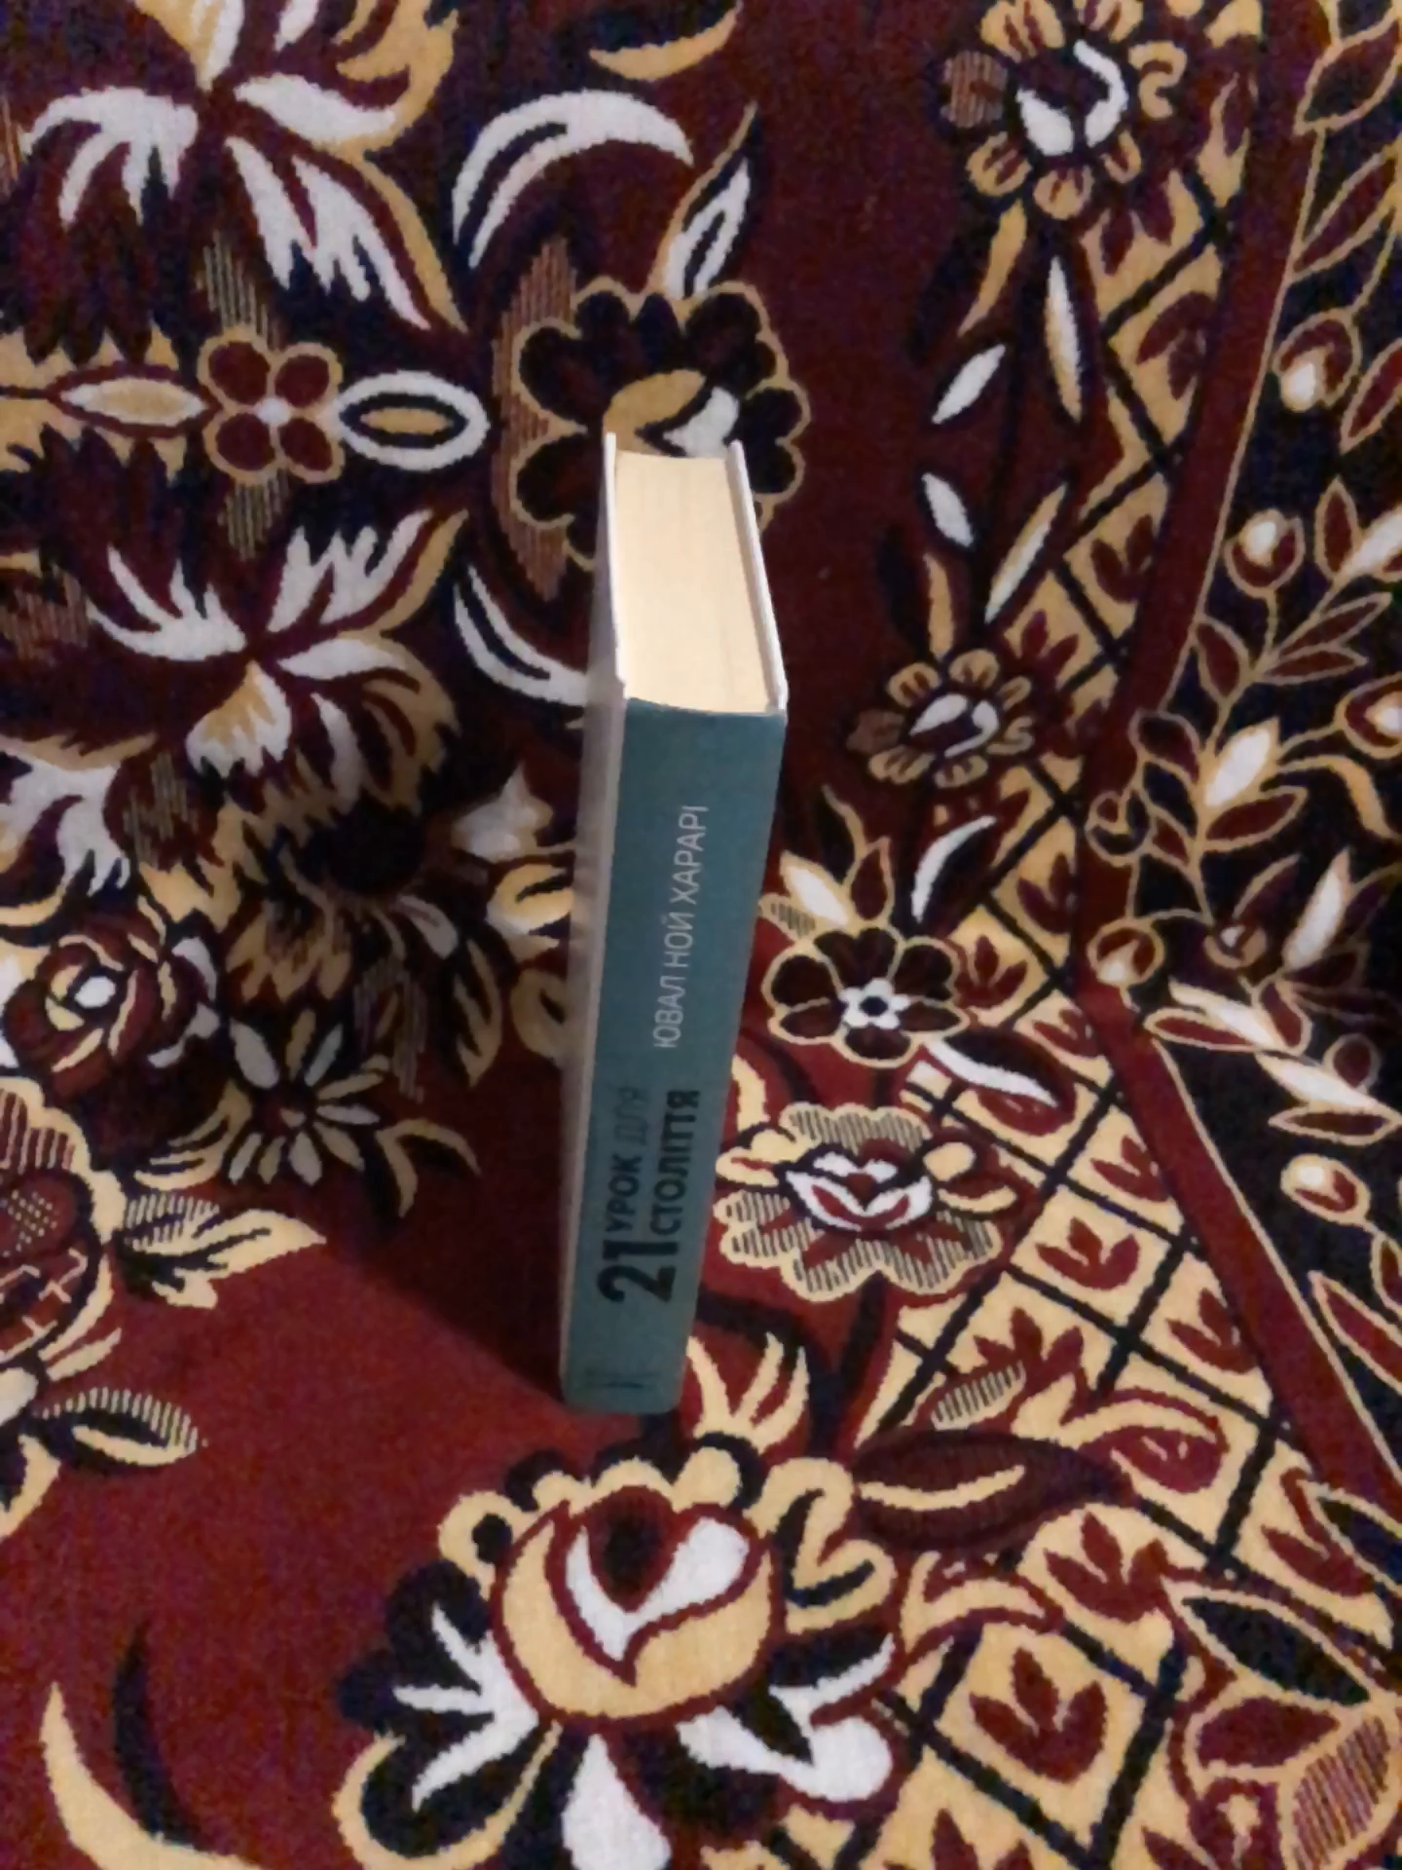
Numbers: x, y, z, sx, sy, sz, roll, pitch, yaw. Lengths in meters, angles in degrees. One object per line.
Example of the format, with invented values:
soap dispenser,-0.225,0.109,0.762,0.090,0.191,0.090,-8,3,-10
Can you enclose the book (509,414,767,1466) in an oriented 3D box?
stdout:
book,-0.020,0.001,0.389,0.040,0.211,0.154,3,35,-4
